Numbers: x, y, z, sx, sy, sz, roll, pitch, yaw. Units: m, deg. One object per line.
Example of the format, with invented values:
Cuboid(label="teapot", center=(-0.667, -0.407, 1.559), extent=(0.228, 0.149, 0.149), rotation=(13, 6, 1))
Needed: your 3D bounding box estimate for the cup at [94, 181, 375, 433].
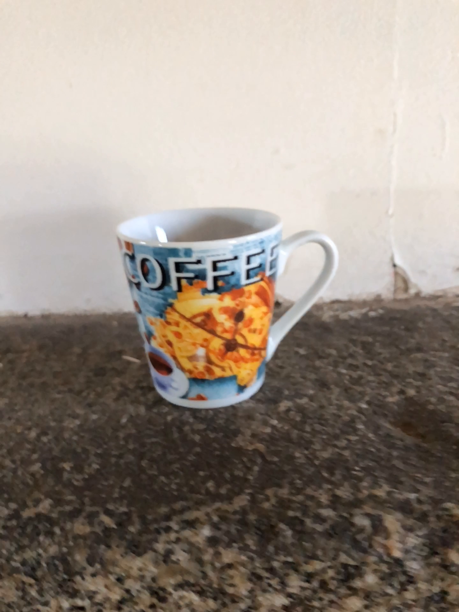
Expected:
Cuboid(label="cup", center=(-0.001, -0.006, 0.183), extent=(0.080, 0.060, 0.060), rotation=(-10, 21, -14))
